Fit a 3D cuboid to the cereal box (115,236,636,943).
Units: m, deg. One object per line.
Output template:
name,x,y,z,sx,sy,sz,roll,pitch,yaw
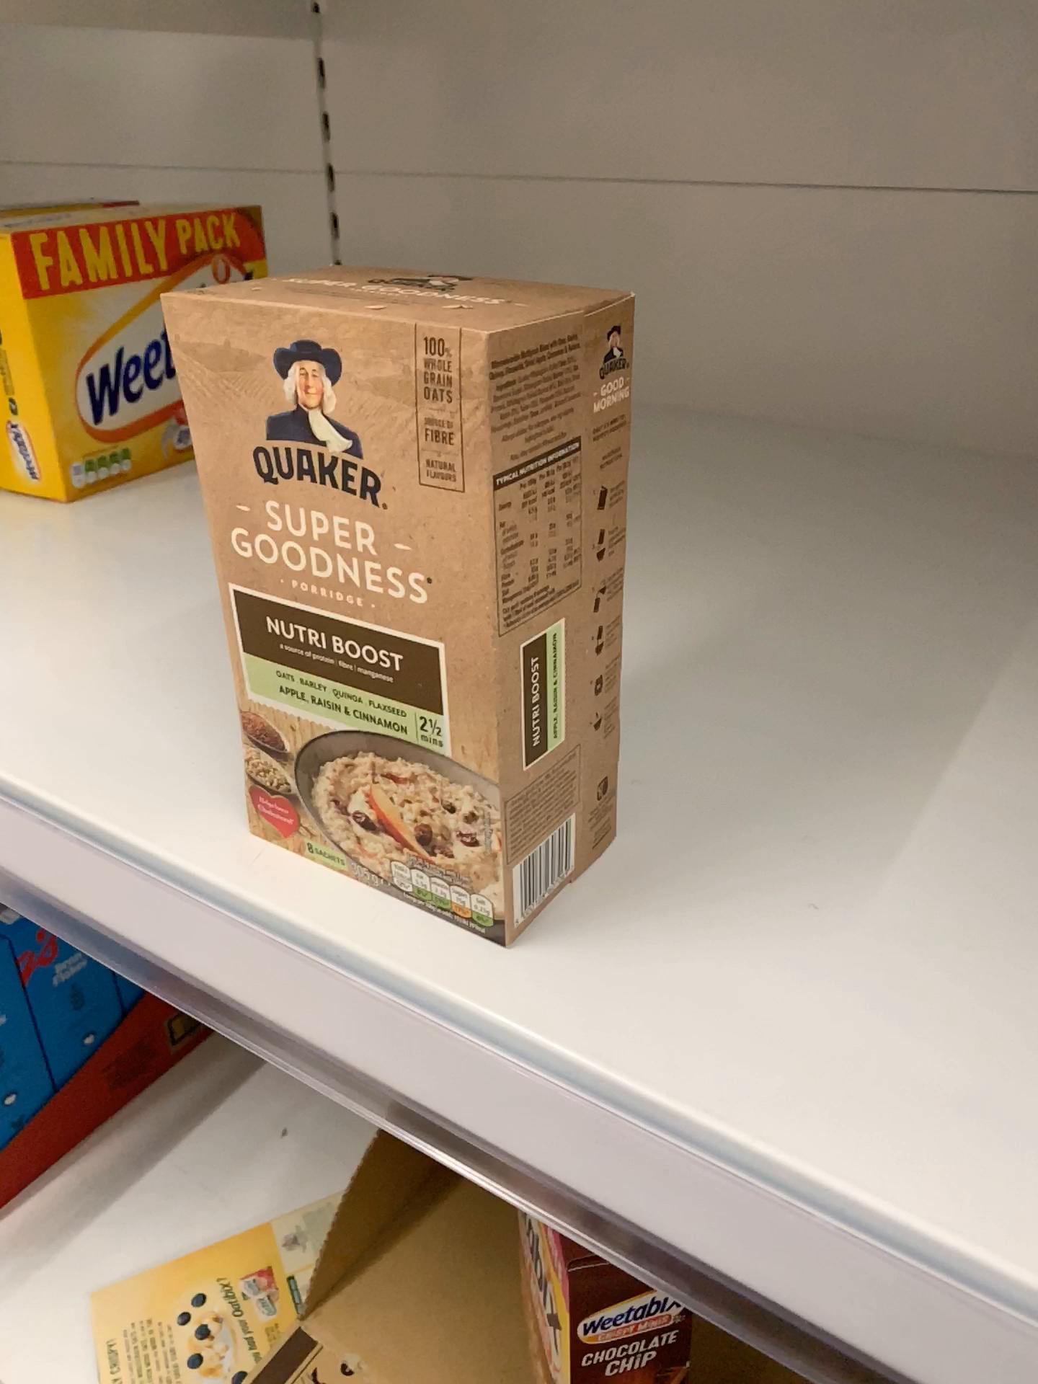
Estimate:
cereal box,-0.043,-0.039,0.360,0.140,0.198,0.070,17,33,30
